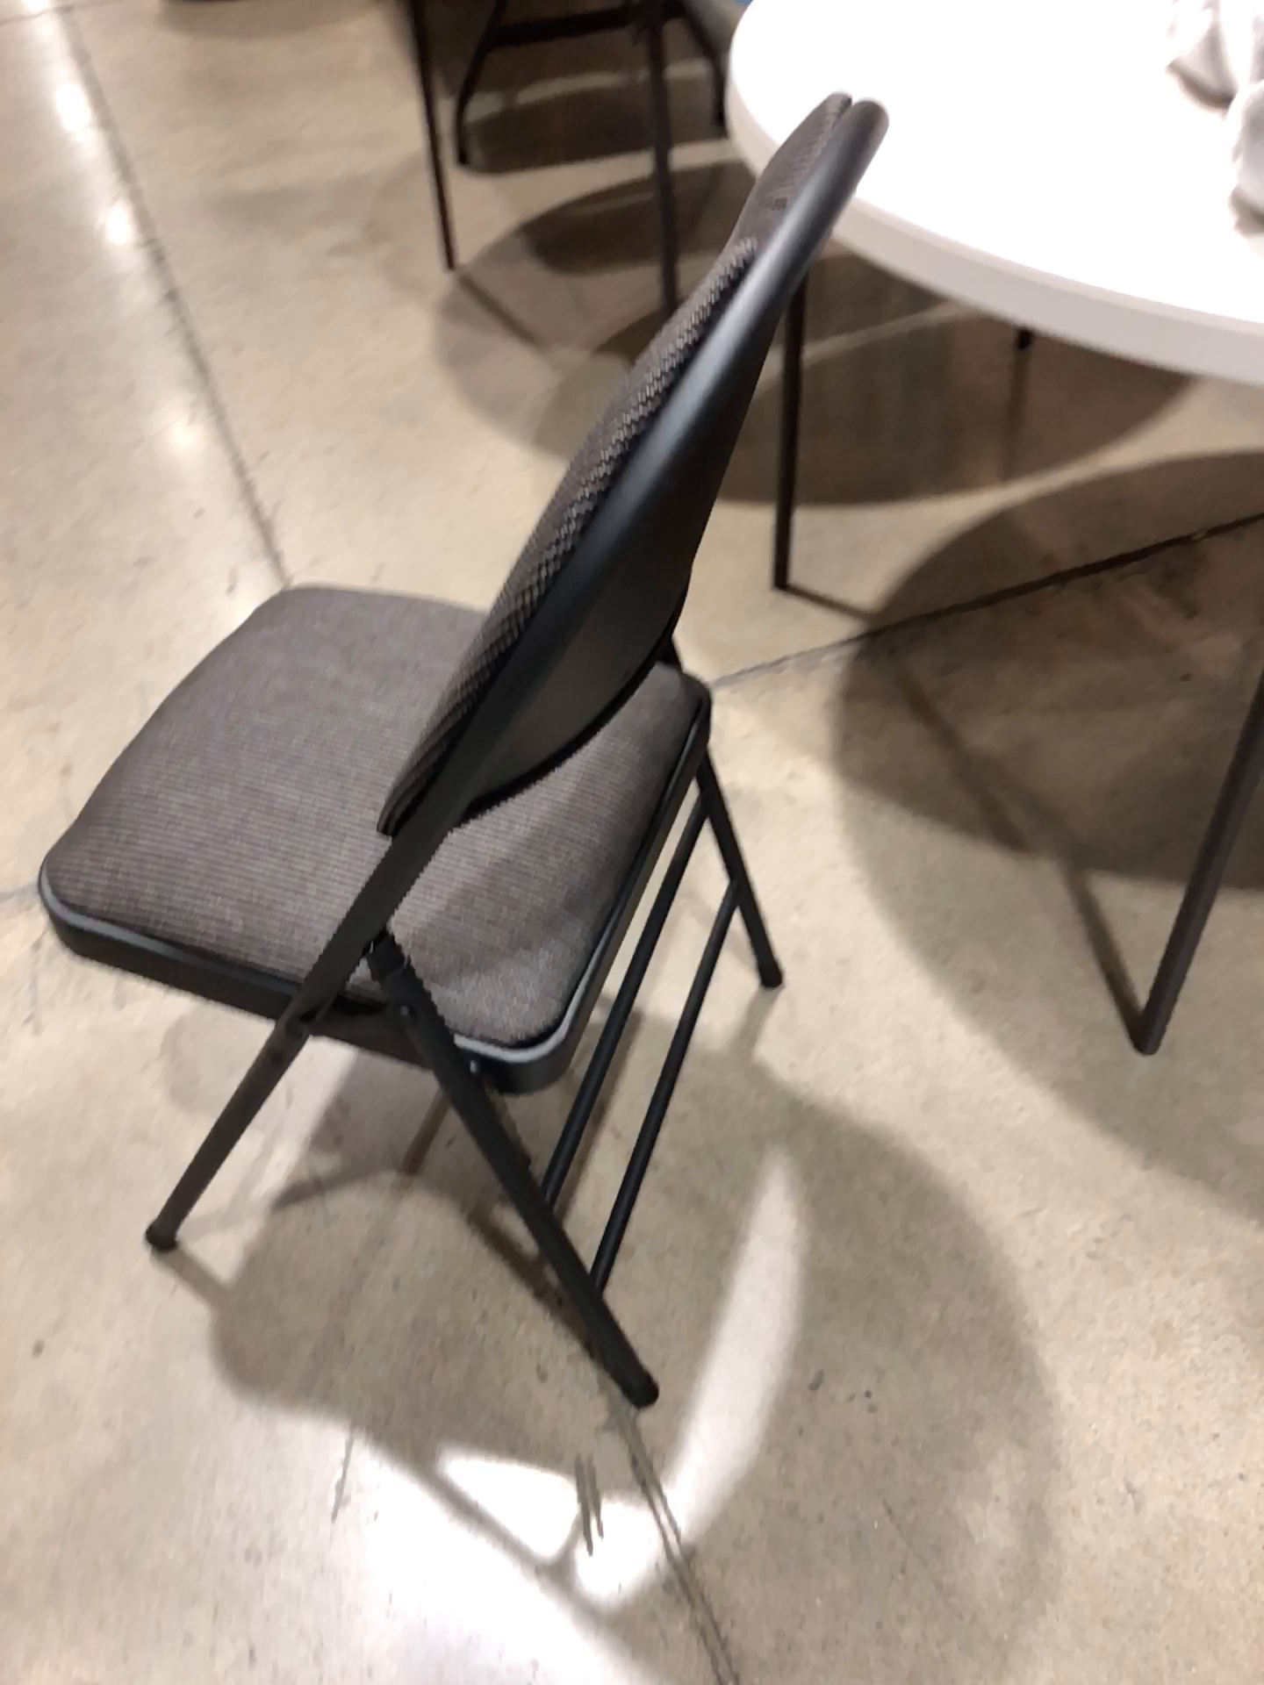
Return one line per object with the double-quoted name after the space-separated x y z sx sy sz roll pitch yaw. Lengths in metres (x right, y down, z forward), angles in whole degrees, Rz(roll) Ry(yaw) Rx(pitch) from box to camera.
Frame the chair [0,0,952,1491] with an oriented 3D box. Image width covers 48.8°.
-0.166 -0.063 0.954 0.561 0.857 0.511 14 49 17 "chair"
